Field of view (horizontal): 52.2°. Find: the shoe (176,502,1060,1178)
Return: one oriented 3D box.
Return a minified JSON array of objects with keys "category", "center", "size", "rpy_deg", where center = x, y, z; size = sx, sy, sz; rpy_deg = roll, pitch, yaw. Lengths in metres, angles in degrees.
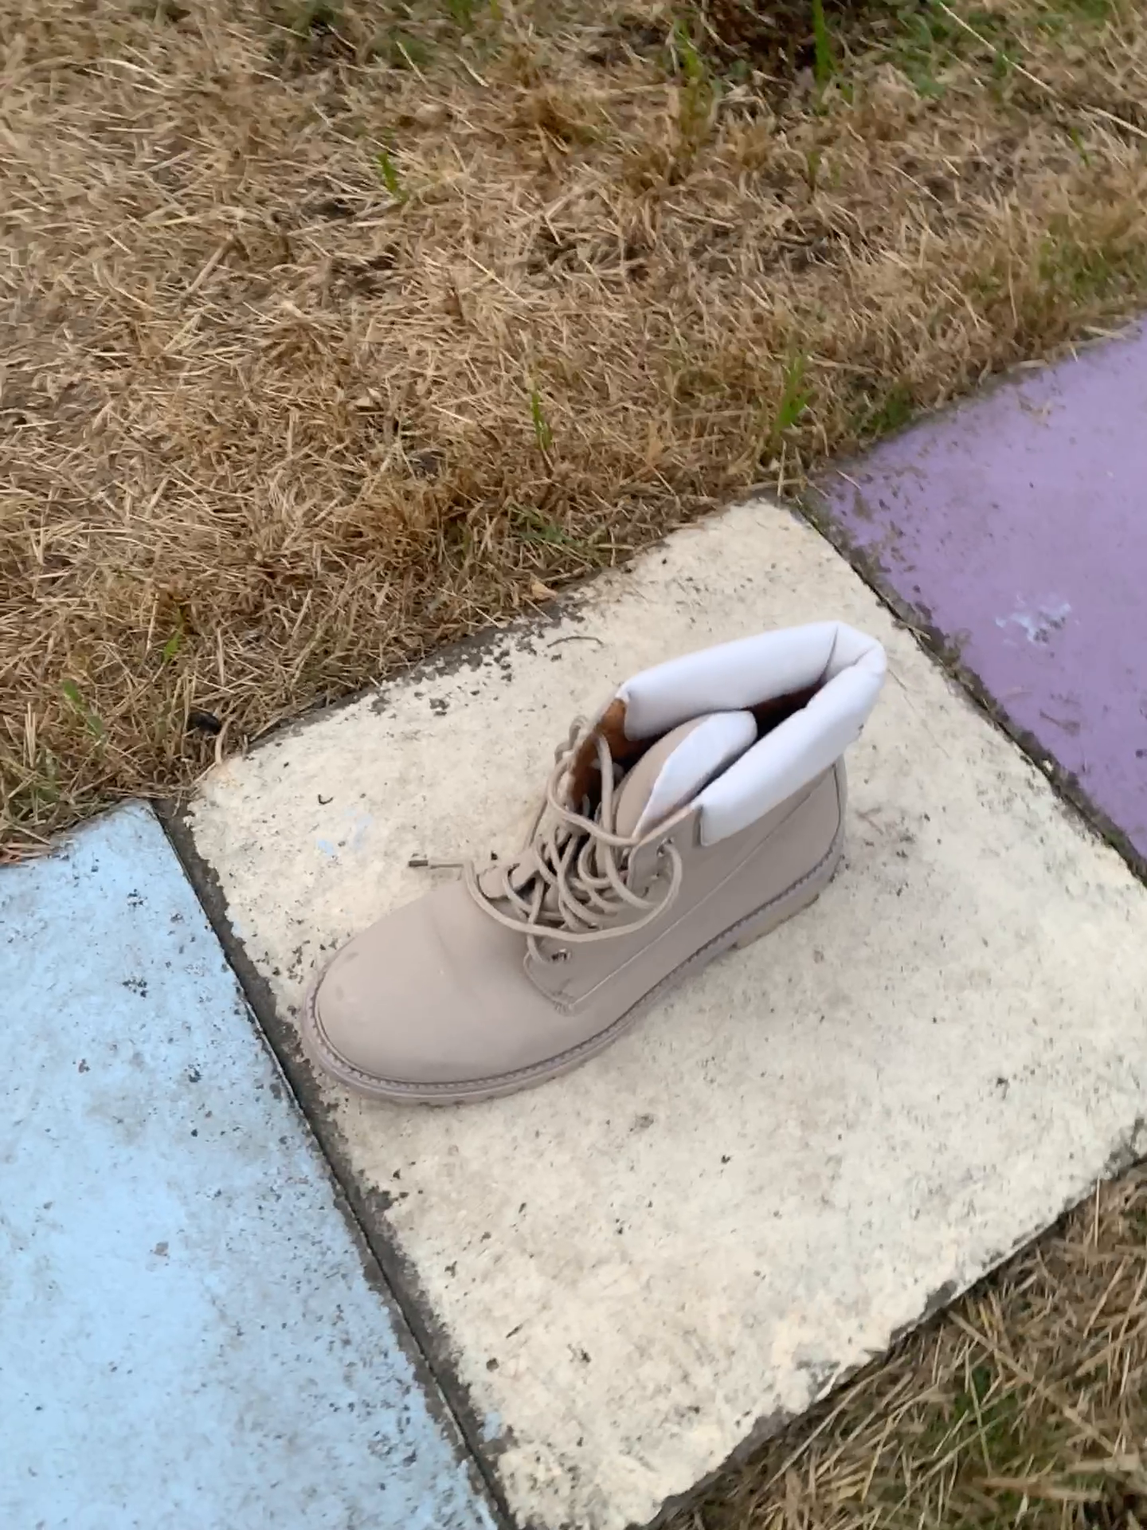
[{"category":"shoe","center":[0.016,0.040,0.477],"size":[0.280,0.199,0.100],"rpy_deg":[-23,65,-14]}]
